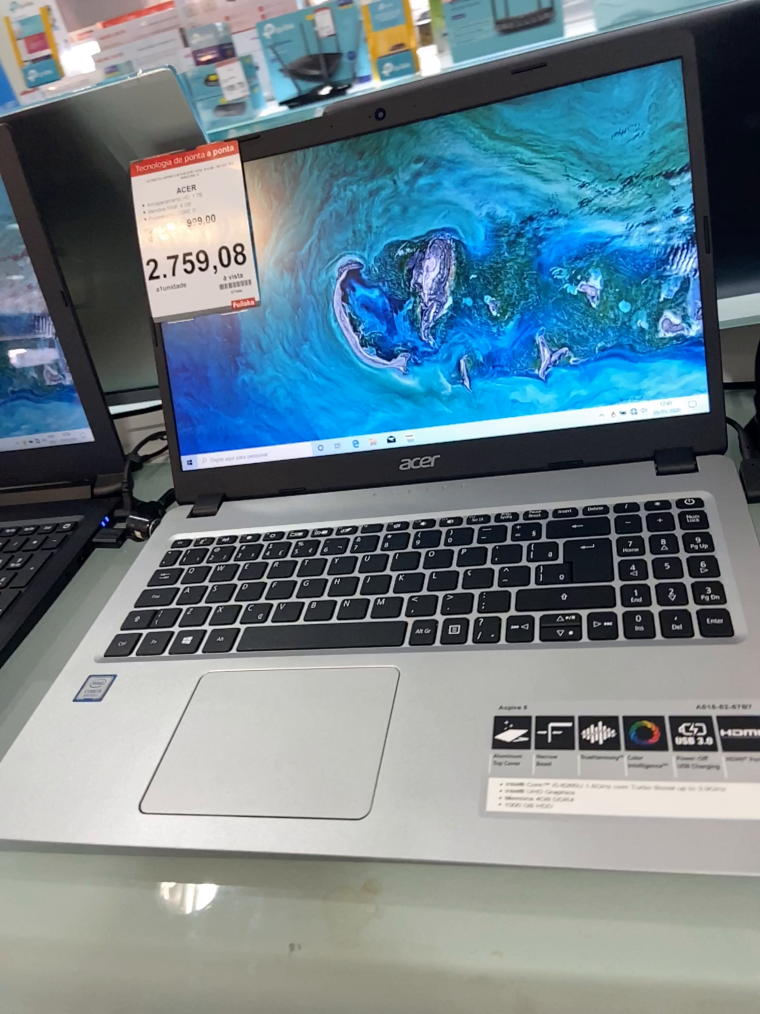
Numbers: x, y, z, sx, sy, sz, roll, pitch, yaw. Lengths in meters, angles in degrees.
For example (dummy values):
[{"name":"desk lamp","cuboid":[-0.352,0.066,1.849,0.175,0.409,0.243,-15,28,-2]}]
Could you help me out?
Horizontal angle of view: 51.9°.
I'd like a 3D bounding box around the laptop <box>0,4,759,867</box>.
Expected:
[{"name":"laptop","cuboid":[-0.009,-0.062,0.383,0.350,0.198,0.364,-6,35,18]}]
